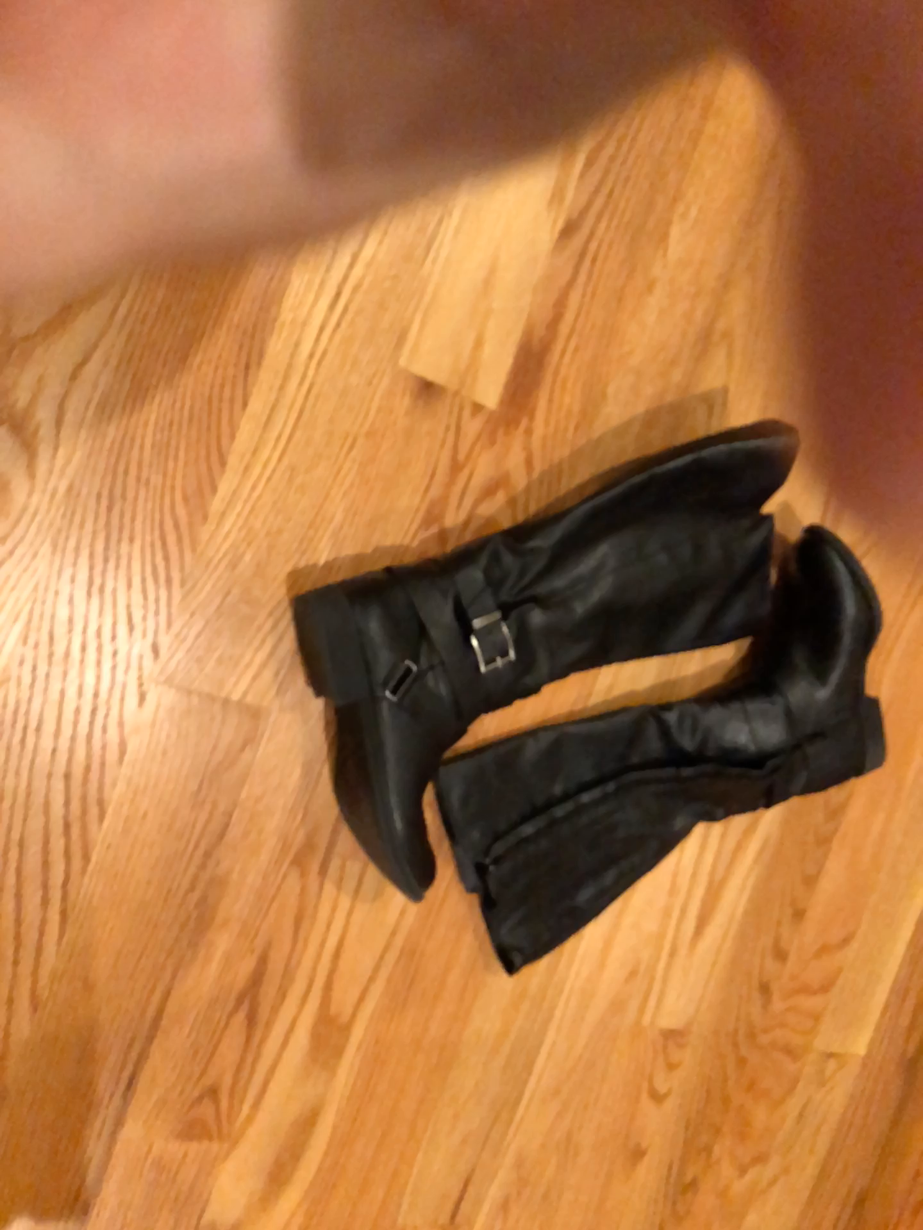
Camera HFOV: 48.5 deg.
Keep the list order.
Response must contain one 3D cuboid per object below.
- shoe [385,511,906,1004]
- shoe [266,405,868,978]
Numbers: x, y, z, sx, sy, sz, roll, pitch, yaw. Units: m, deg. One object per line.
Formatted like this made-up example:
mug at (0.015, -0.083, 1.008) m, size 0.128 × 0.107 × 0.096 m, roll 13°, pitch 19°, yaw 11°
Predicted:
shoe at (0.160, 0.090, 0.786) m, size 0.394 × 0.094 × 0.250 m, roll -16°, pitch 109°, yaw -23°
shoe at (0.098, 0.034, 0.741) m, size 0.404 × 0.104 × 0.290 m, roll -17°, pitch 109°, yaw -21°
